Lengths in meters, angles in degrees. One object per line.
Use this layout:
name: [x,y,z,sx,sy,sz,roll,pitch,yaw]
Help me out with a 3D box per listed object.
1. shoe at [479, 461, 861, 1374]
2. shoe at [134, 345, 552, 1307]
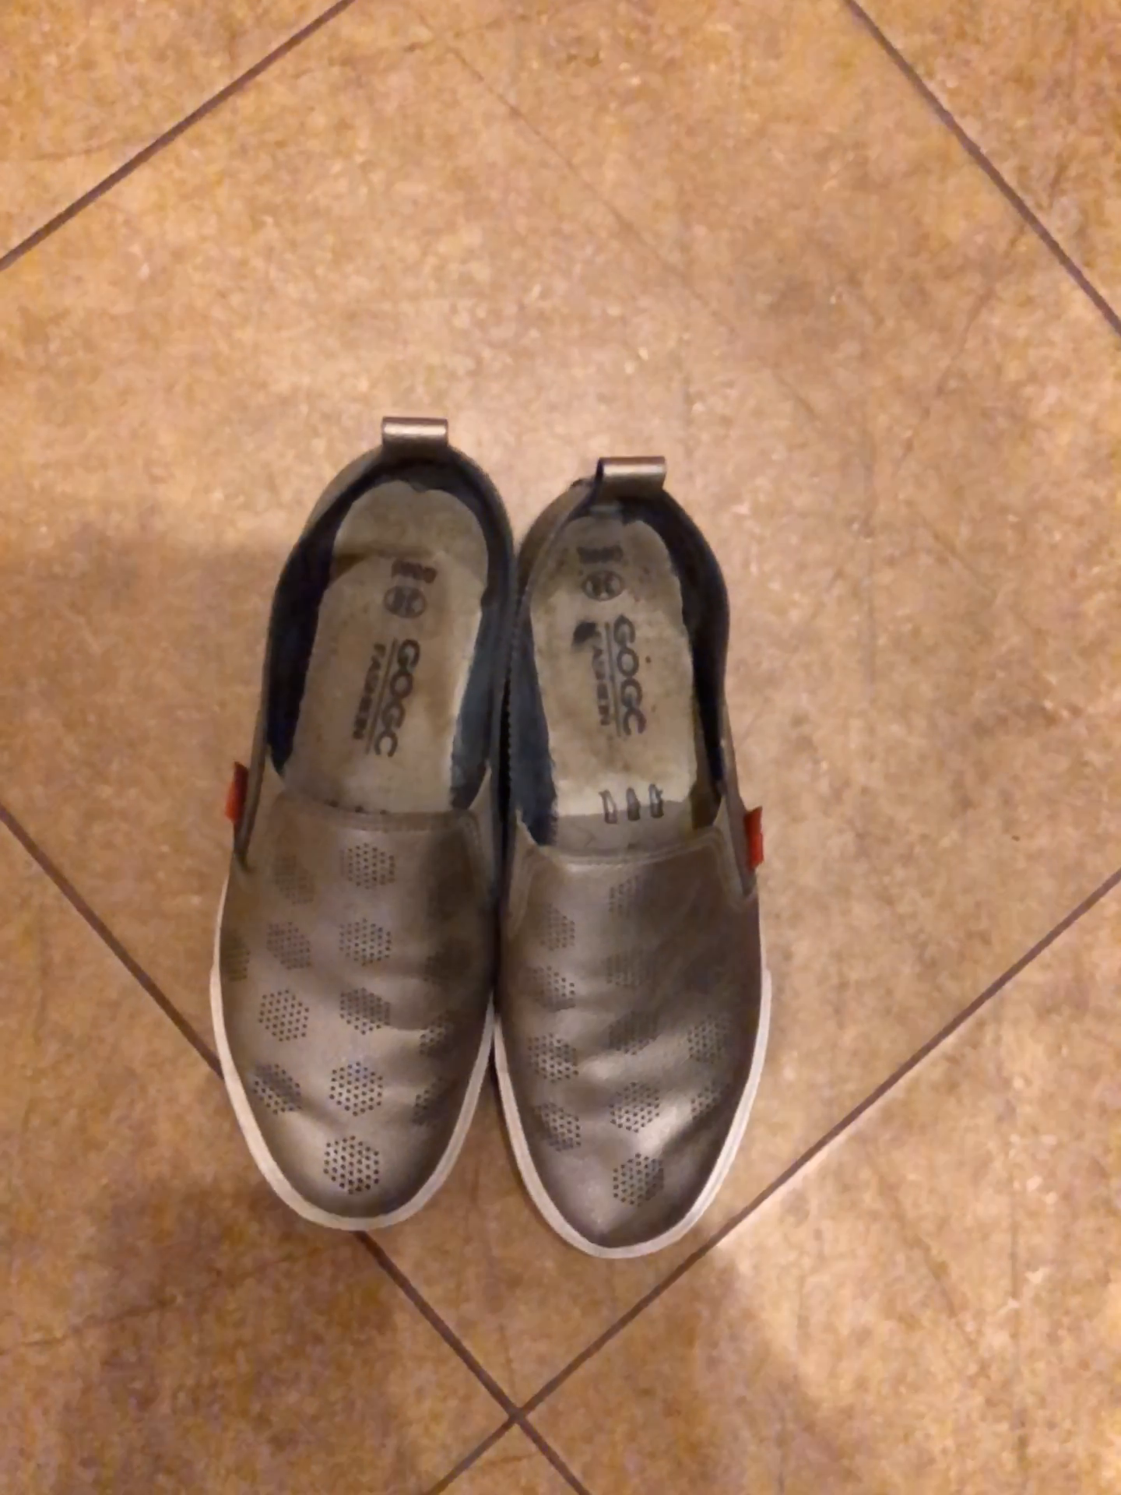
shoe: [0.025,0.045,0.386,0.100,0.110,0.240,0,88,-4]
shoe: [-0.060,0.022,0.381,0.090,0.100,0.250,4,87,-4]
